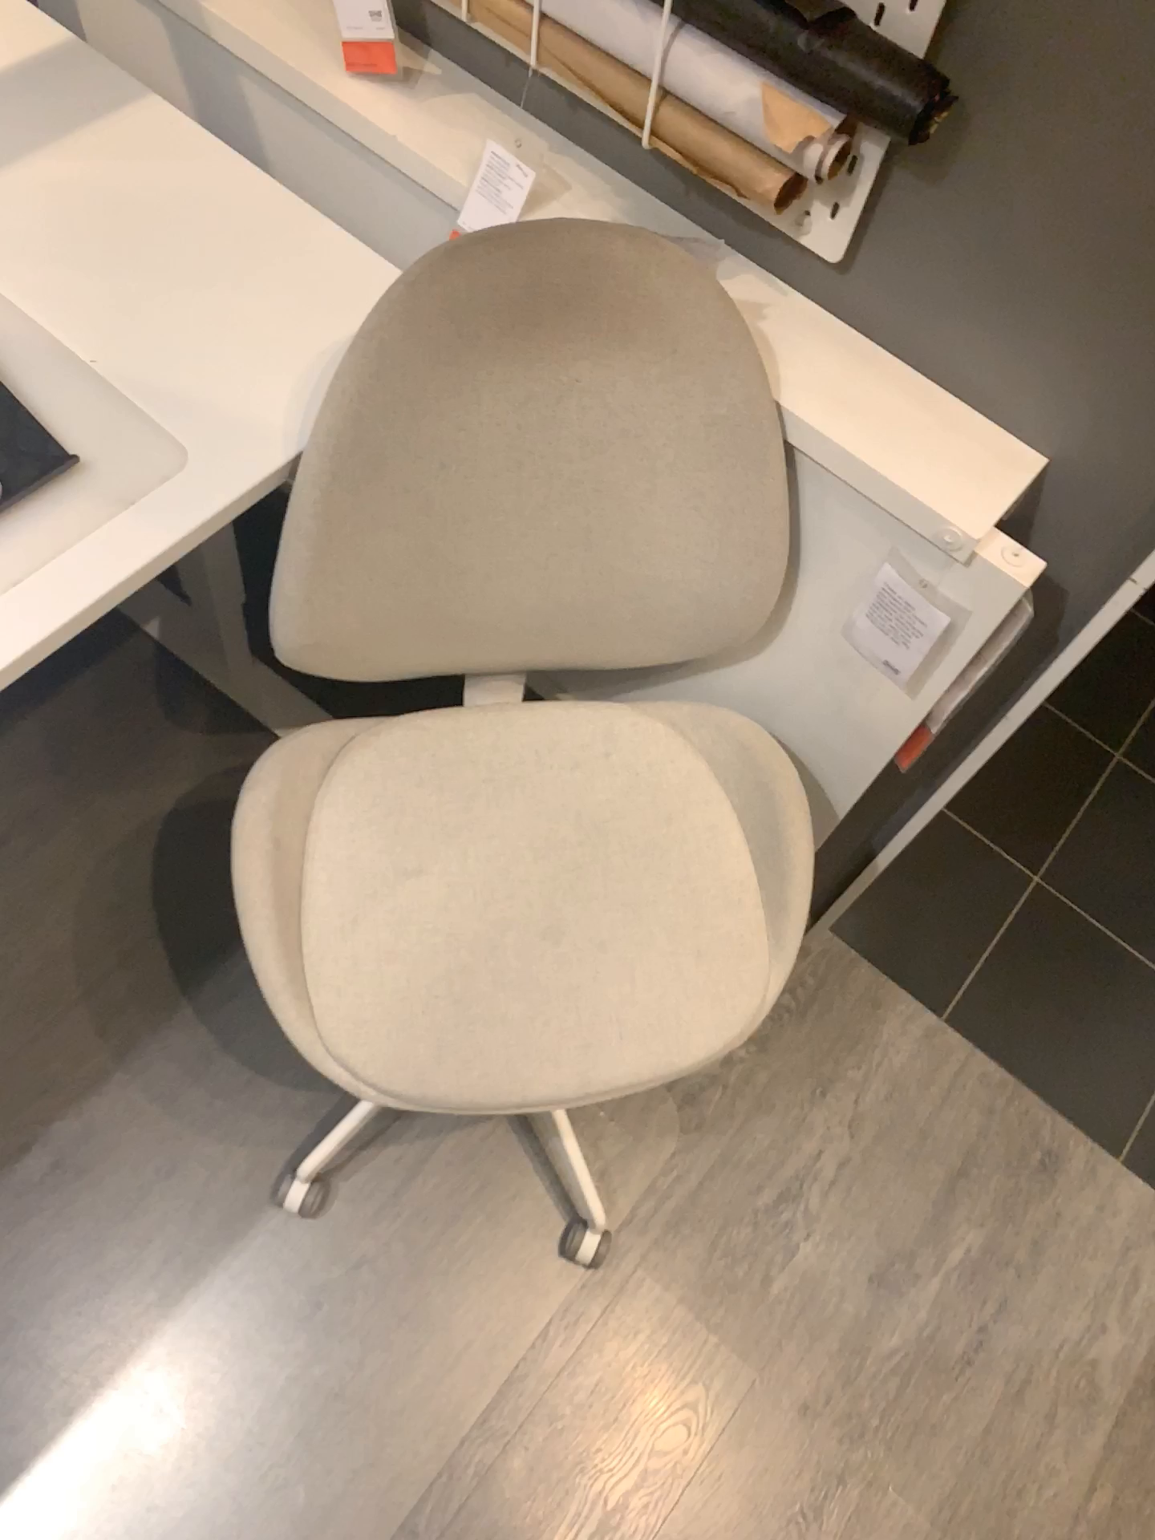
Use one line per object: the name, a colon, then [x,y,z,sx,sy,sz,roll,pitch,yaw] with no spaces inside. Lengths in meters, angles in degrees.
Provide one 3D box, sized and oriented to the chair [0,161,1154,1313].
chair: [-0.031,0.117,1.046,0.610,0.938,0.591,3,62,-8]
